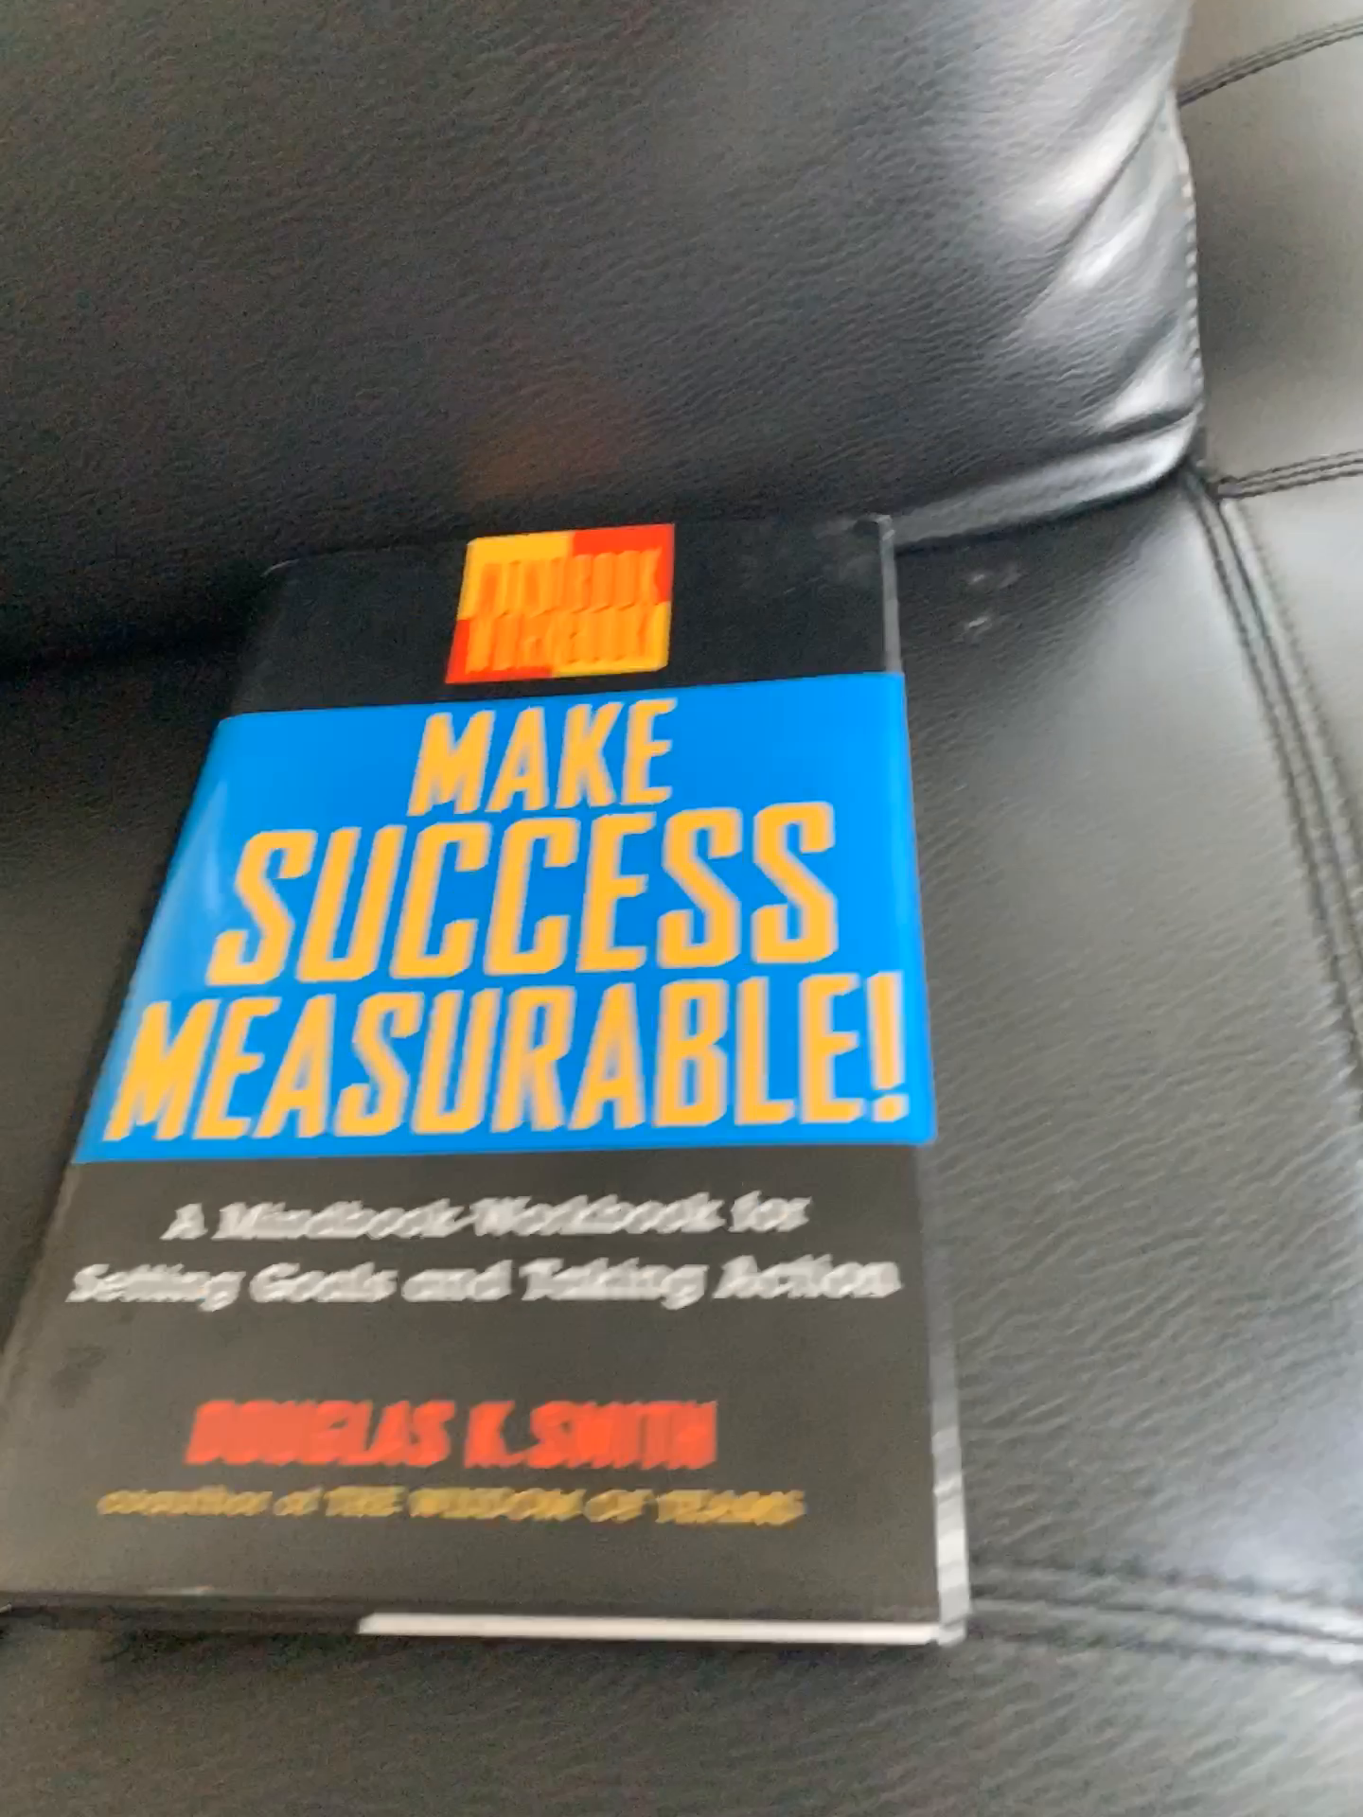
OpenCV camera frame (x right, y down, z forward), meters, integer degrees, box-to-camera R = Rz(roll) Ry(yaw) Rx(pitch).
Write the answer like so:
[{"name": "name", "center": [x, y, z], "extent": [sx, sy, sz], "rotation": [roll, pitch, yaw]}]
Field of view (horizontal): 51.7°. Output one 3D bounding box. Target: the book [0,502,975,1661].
[{"name": "book", "center": [-0.034, 0.013, 0.286], "extent": [0.164, 0.030, 0.242], "rotation": [-3, 53, 8]}]
